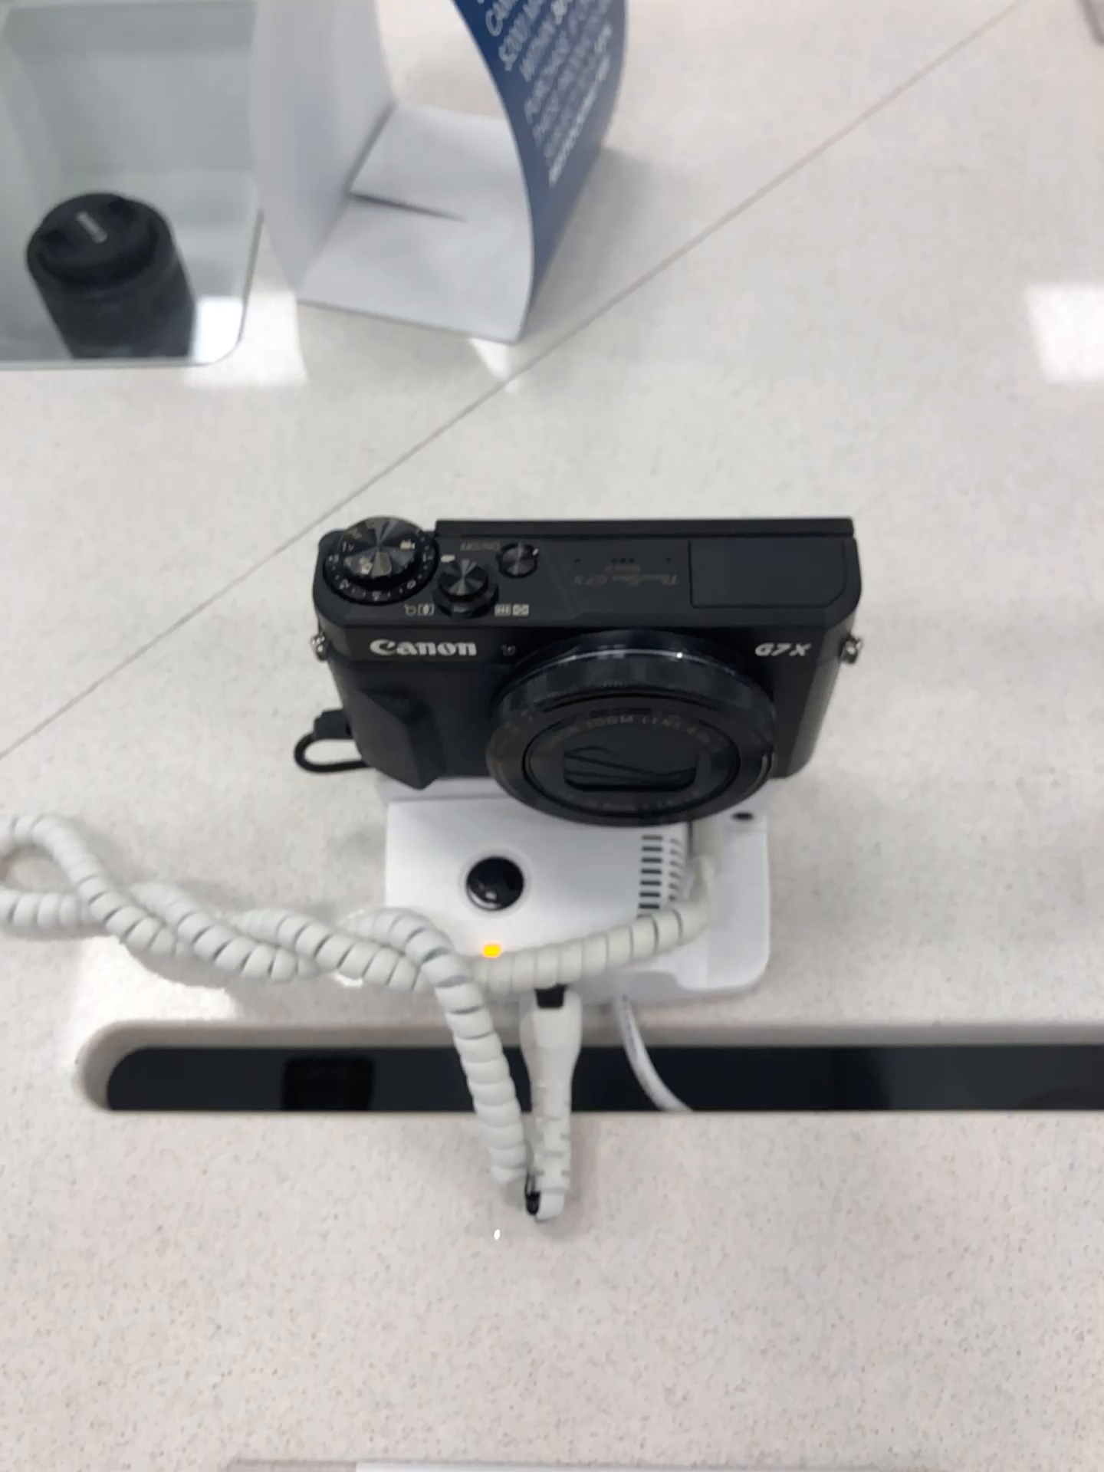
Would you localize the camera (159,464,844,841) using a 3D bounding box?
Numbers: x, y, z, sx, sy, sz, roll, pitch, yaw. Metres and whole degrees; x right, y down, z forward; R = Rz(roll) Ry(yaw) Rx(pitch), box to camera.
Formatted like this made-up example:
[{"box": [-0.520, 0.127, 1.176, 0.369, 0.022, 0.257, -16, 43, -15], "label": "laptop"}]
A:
[{"box": [-0.009, -0.015, 0.256, 0.120, 0.060, 0.050, -1, 61, 1], "label": "camera"}]
